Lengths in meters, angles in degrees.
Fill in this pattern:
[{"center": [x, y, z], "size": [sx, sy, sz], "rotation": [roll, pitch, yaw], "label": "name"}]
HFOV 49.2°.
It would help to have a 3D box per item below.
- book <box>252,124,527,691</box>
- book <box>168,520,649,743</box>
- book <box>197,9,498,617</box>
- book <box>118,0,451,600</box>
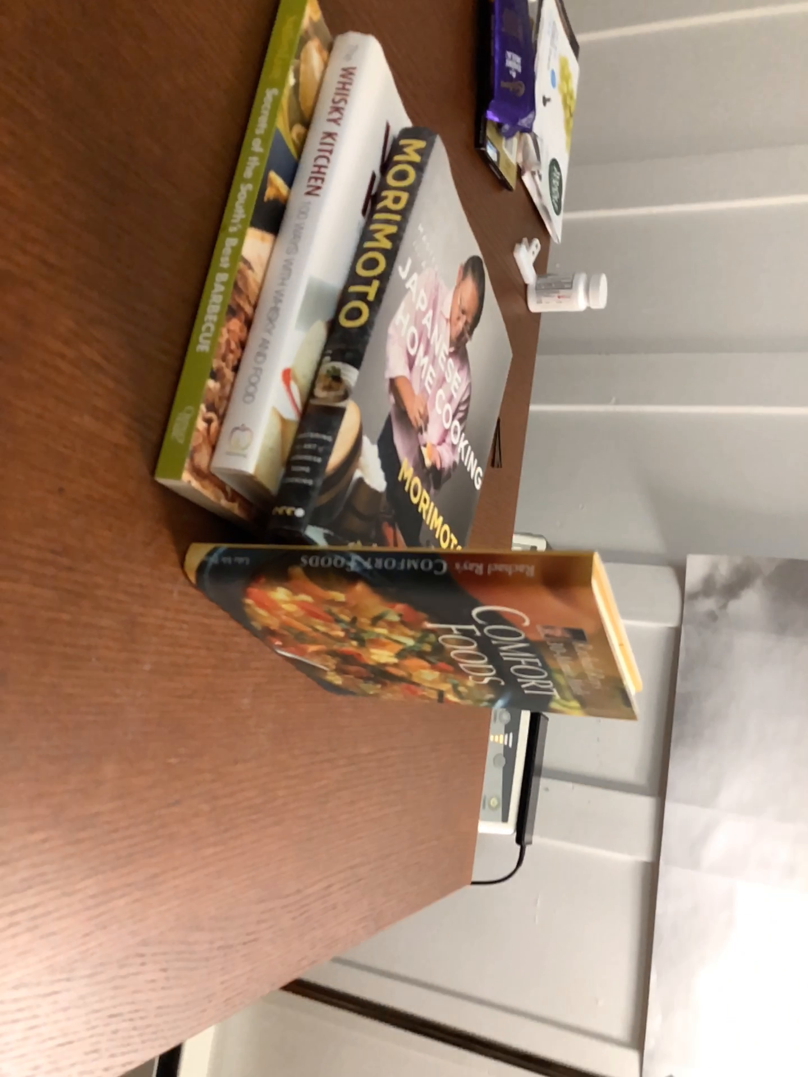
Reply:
[{"center": [0.012, -0.070, 0.564], "size": [0.221, 0.030, 0.280], "rotation": [52, 49, -57], "label": "book"}, {"center": [0.018, 0.057, 0.486], "size": [0.211, 0.209, 0.030], "rotation": [57, 41, -57], "label": "book"}, {"center": [-0.012, -0.117, 0.537], "size": [0.221, 0.030, 0.280], "rotation": [44, 56, -61], "label": "book"}, {"center": [-0.047, -0.127, 0.524], "size": [0.221, 0.030, 0.280], "rotation": [40, 59, -62], "label": "book"}]
